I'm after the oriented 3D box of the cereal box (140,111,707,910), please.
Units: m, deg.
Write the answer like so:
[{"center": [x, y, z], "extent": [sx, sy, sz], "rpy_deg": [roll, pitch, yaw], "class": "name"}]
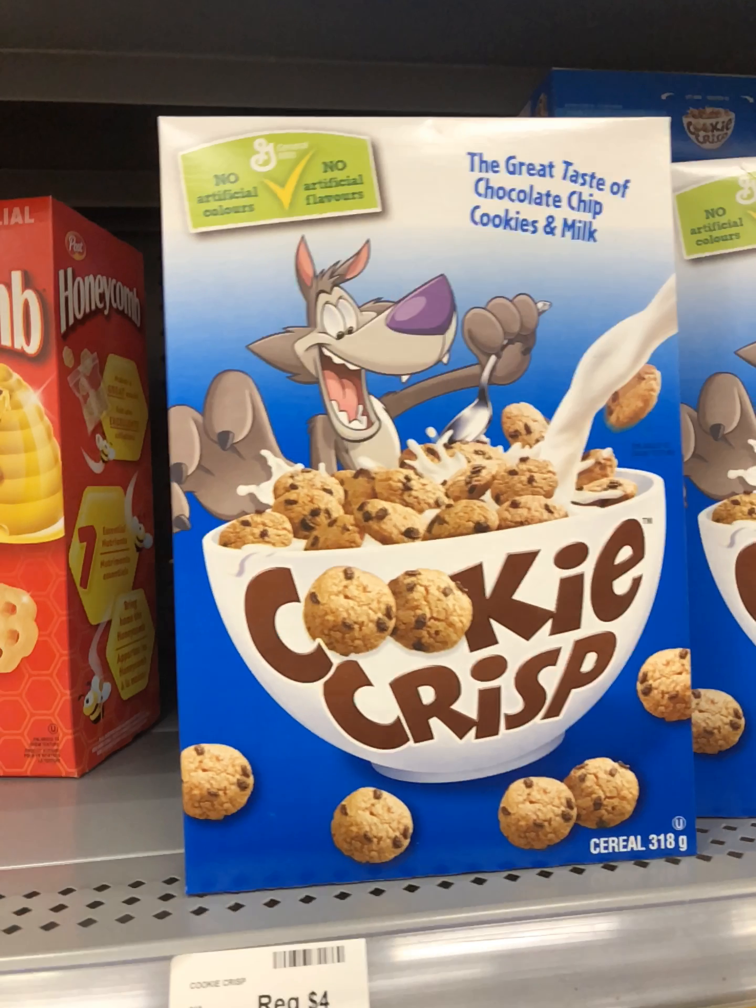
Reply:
[{"center": [0.018, -0.002, 0.330], "extent": [0.200, 0.280, 0.050], "rpy_deg": [-2, 1, -8], "class": "cereal box"}]
